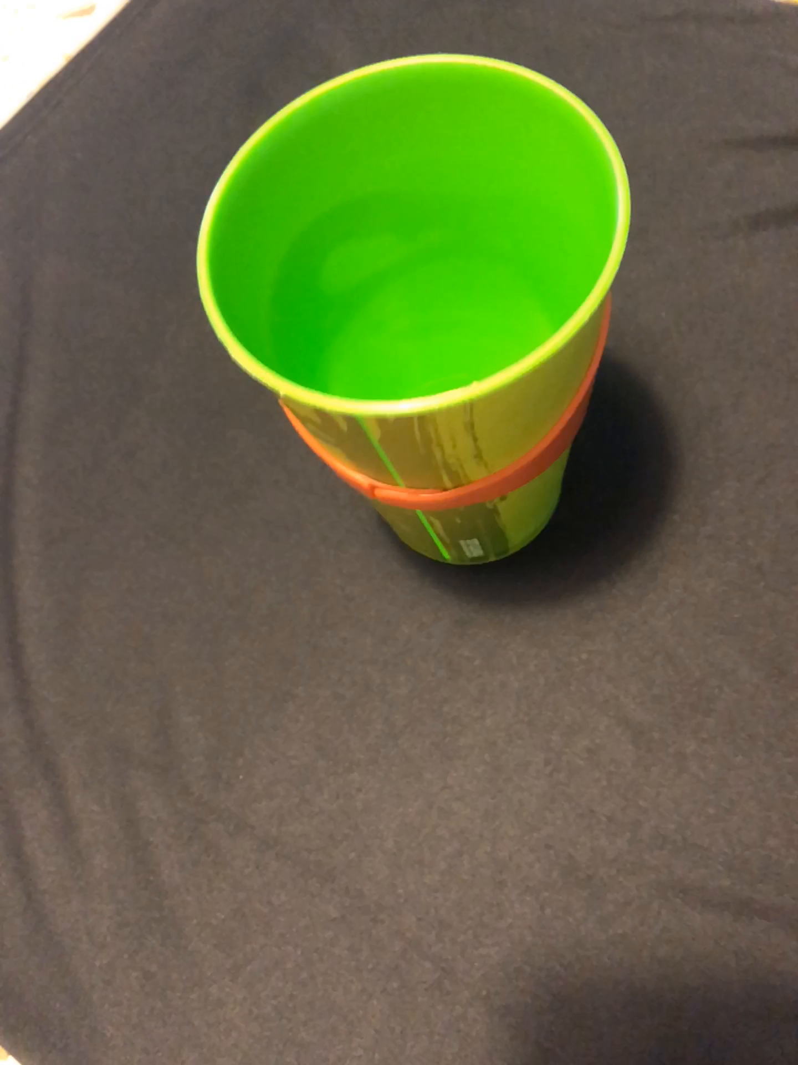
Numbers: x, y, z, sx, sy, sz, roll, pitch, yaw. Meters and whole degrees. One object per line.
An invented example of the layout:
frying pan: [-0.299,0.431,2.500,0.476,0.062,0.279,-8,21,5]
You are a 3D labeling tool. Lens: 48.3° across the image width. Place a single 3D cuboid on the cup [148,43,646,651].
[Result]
cup: [0.014,-0.039,0.261,0.100,0.140,0.110,3,69,11]
